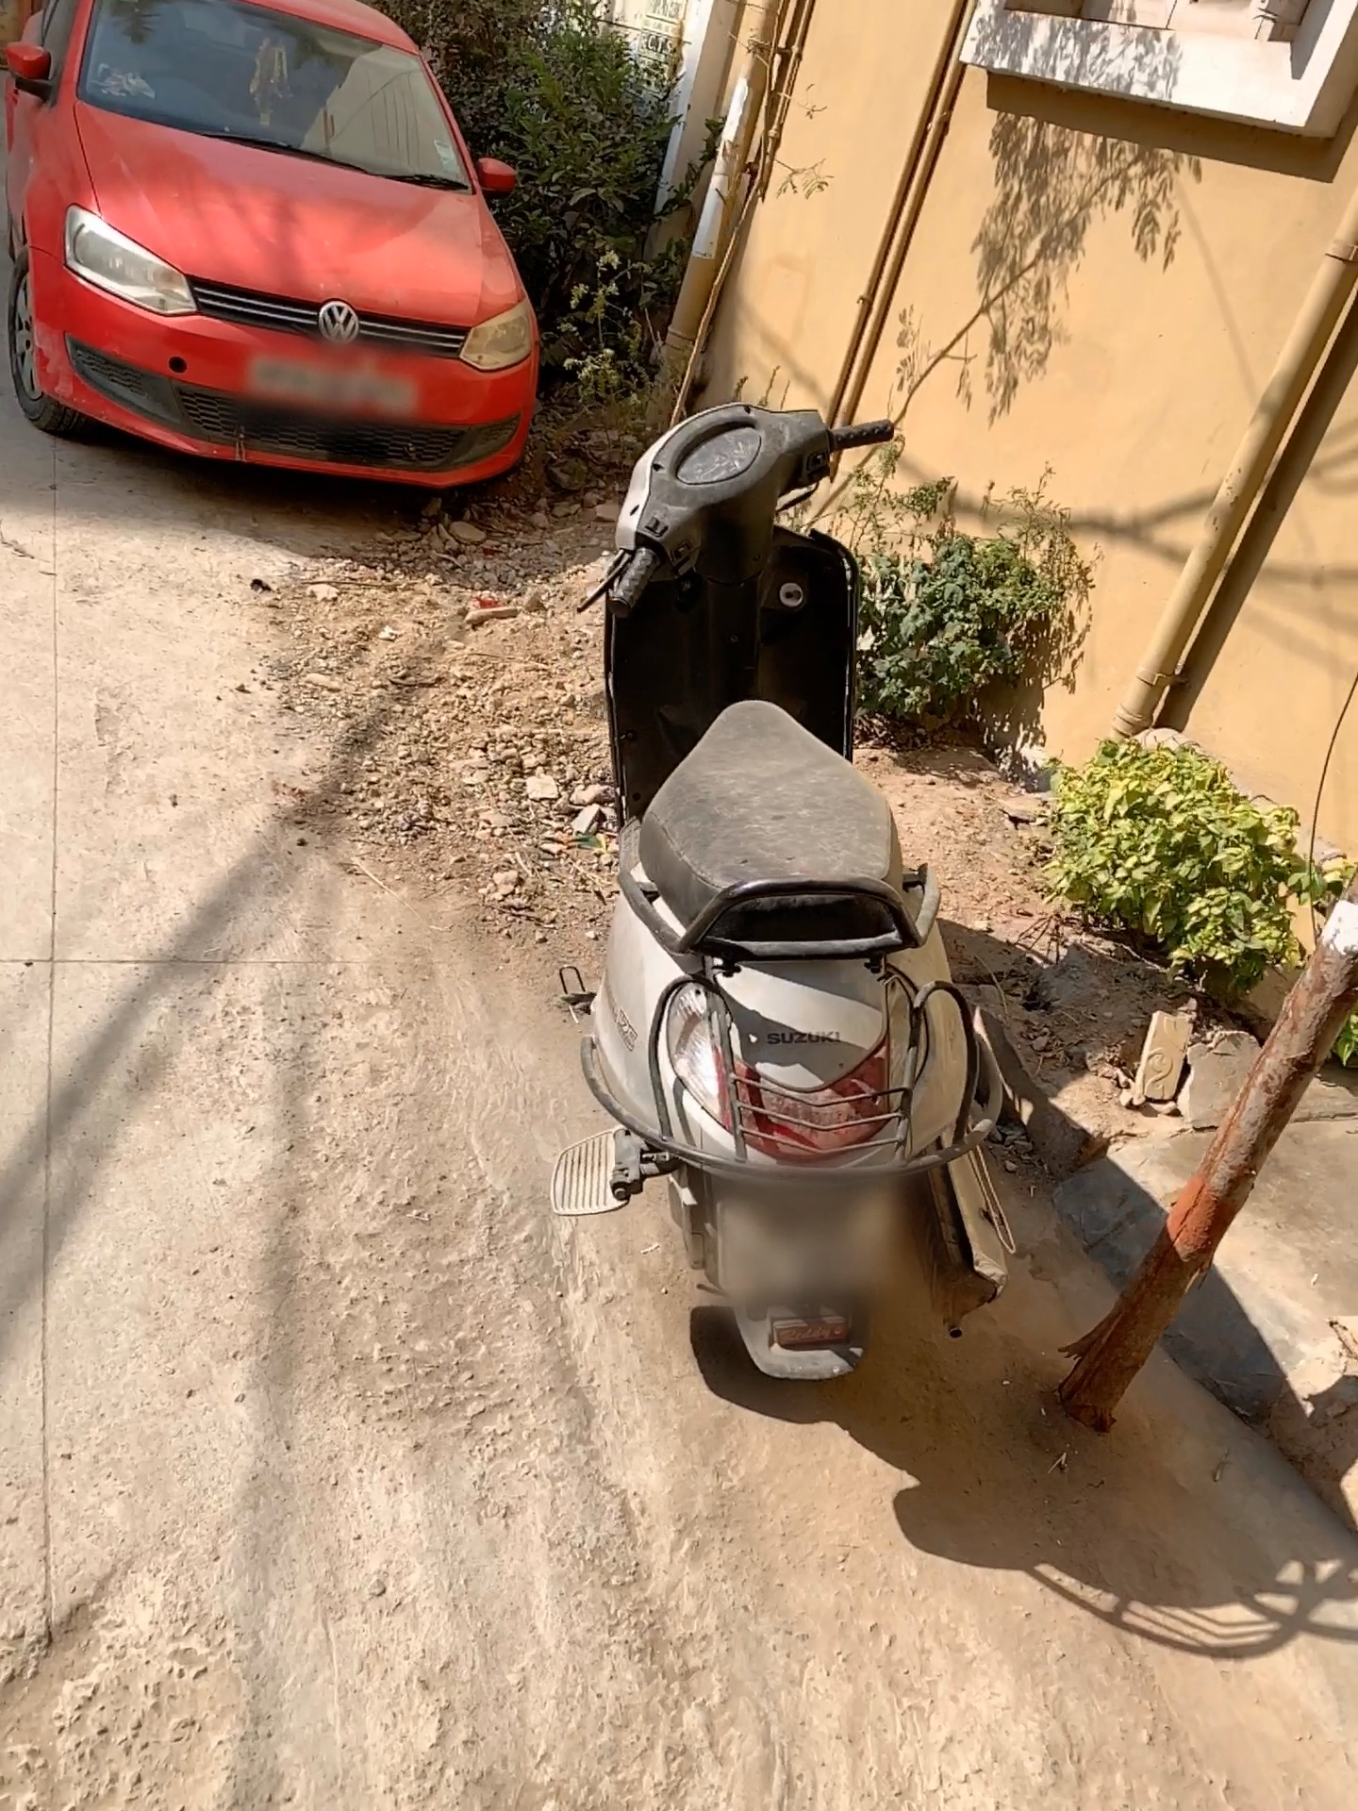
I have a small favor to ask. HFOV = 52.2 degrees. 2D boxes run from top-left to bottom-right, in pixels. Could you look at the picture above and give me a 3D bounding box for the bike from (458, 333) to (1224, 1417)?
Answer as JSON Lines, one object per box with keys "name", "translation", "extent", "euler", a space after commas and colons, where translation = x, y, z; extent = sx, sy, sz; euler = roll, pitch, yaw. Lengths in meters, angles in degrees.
{"name": "bike", "translation": [0.082, -0.185, 2.142], "extent": [0.549, 1.000, 1.516], "euler": [11, 29, -10]}
